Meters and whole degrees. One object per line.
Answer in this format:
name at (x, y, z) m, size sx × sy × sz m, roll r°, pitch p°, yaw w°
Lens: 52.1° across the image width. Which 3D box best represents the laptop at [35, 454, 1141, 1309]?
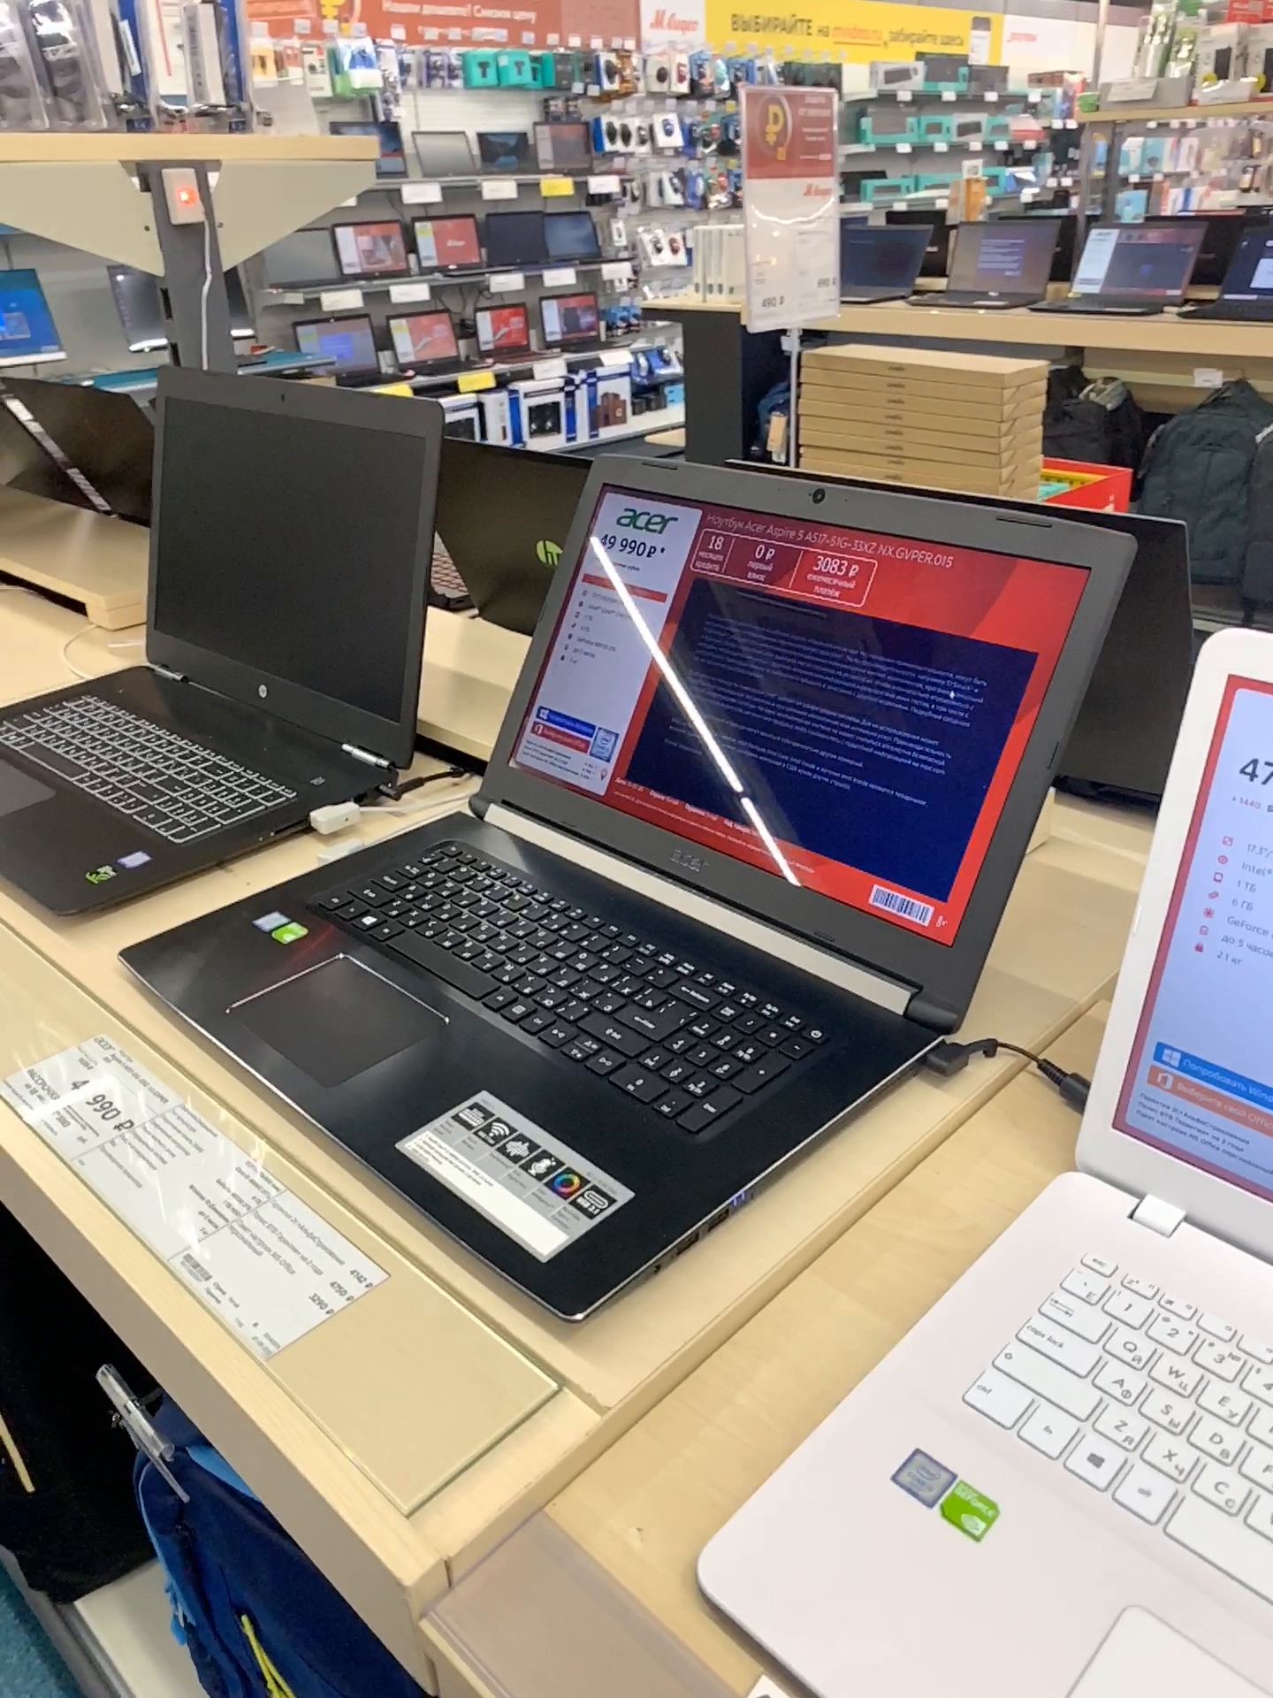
laptop at (-0.026, -0.050, 0.755) m, size 0.421 × 0.235 × 0.421 m, roll -26°, pitch 35°, yaw -37°
